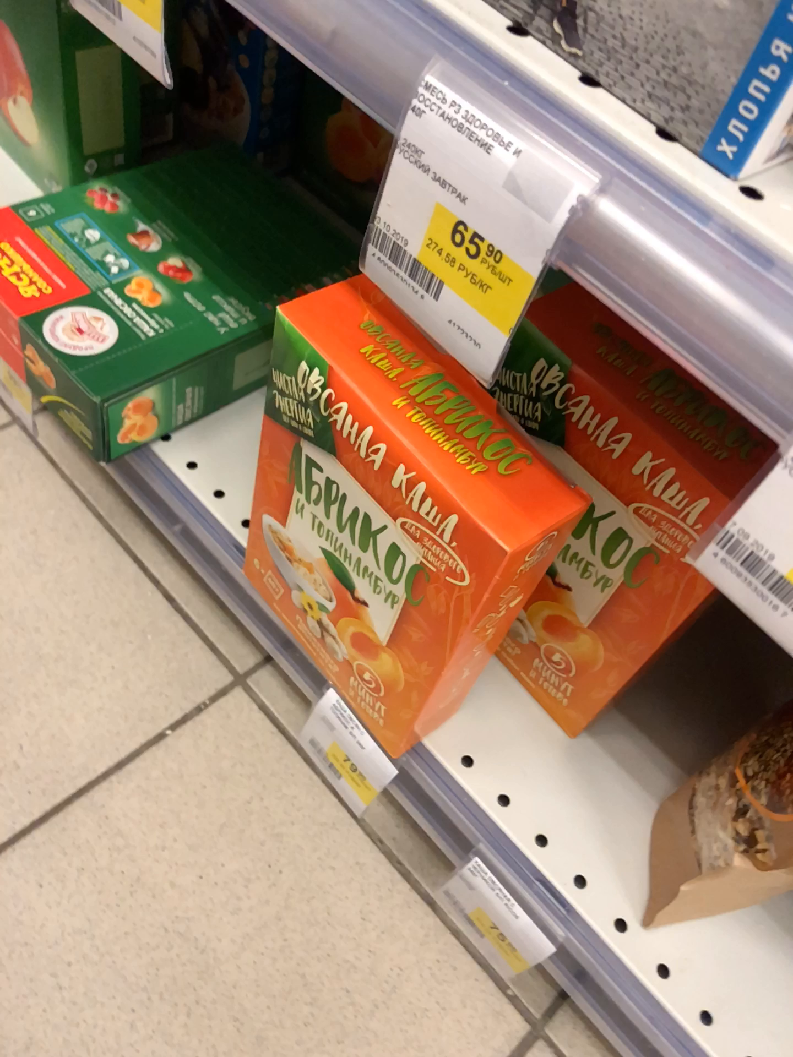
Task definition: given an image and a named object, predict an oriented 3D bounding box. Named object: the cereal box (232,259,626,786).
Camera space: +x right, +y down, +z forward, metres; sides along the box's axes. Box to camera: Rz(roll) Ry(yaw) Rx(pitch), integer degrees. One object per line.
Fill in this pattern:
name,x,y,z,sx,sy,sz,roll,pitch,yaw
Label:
cereal box,-0.005,0.009,0.379,0.050,0.189,0.140,-30,67,-30
